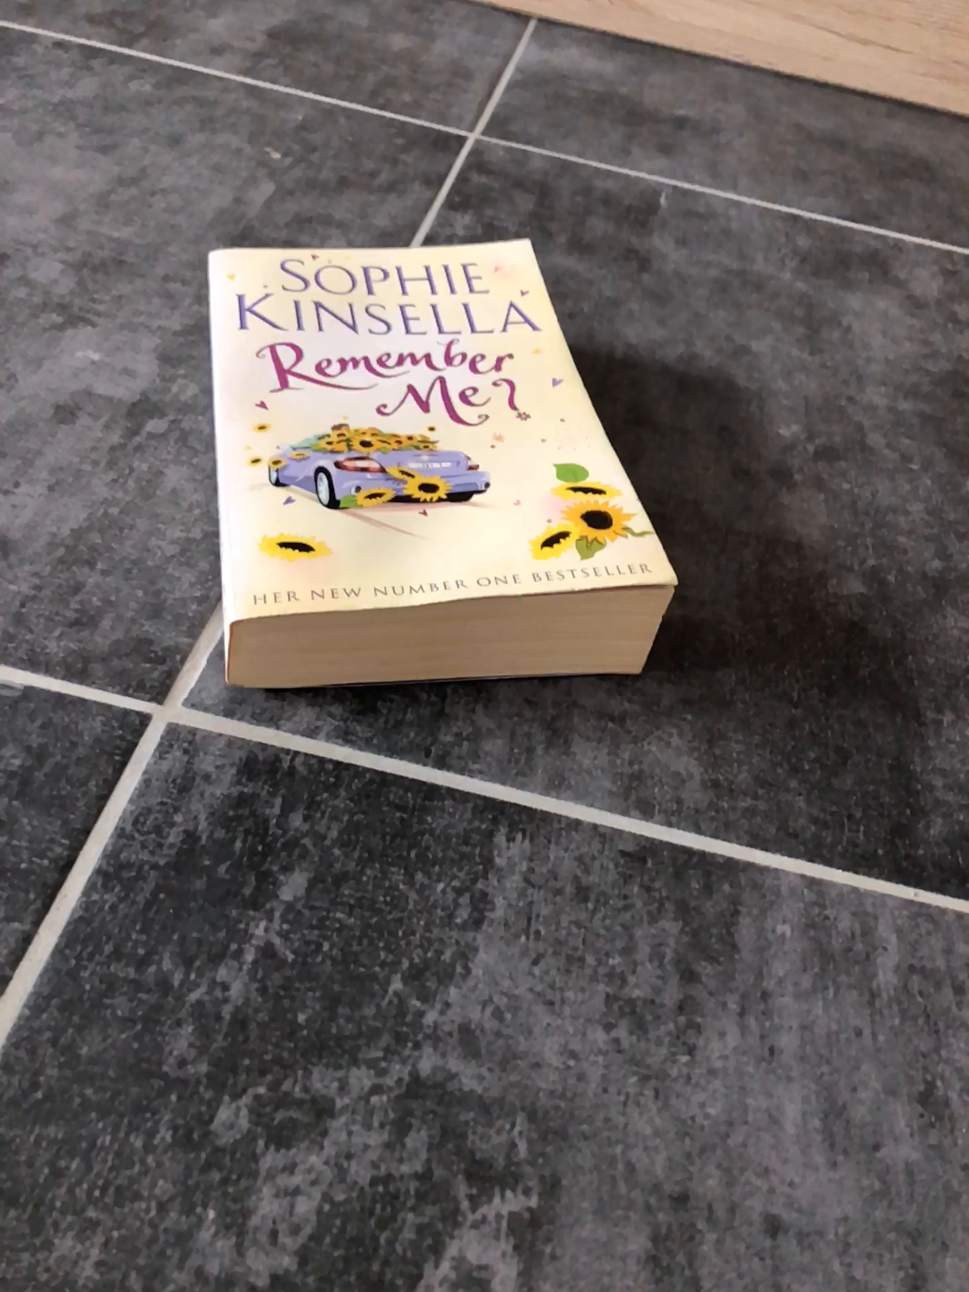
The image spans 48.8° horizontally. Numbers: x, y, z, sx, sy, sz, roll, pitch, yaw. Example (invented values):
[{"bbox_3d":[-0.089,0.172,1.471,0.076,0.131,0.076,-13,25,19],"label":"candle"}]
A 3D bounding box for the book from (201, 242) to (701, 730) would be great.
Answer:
[{"bbox_3d":[-0.025,-0.069,0.360,0.130,0.040,0.201,-5,47,-11],"label":"book"}]
